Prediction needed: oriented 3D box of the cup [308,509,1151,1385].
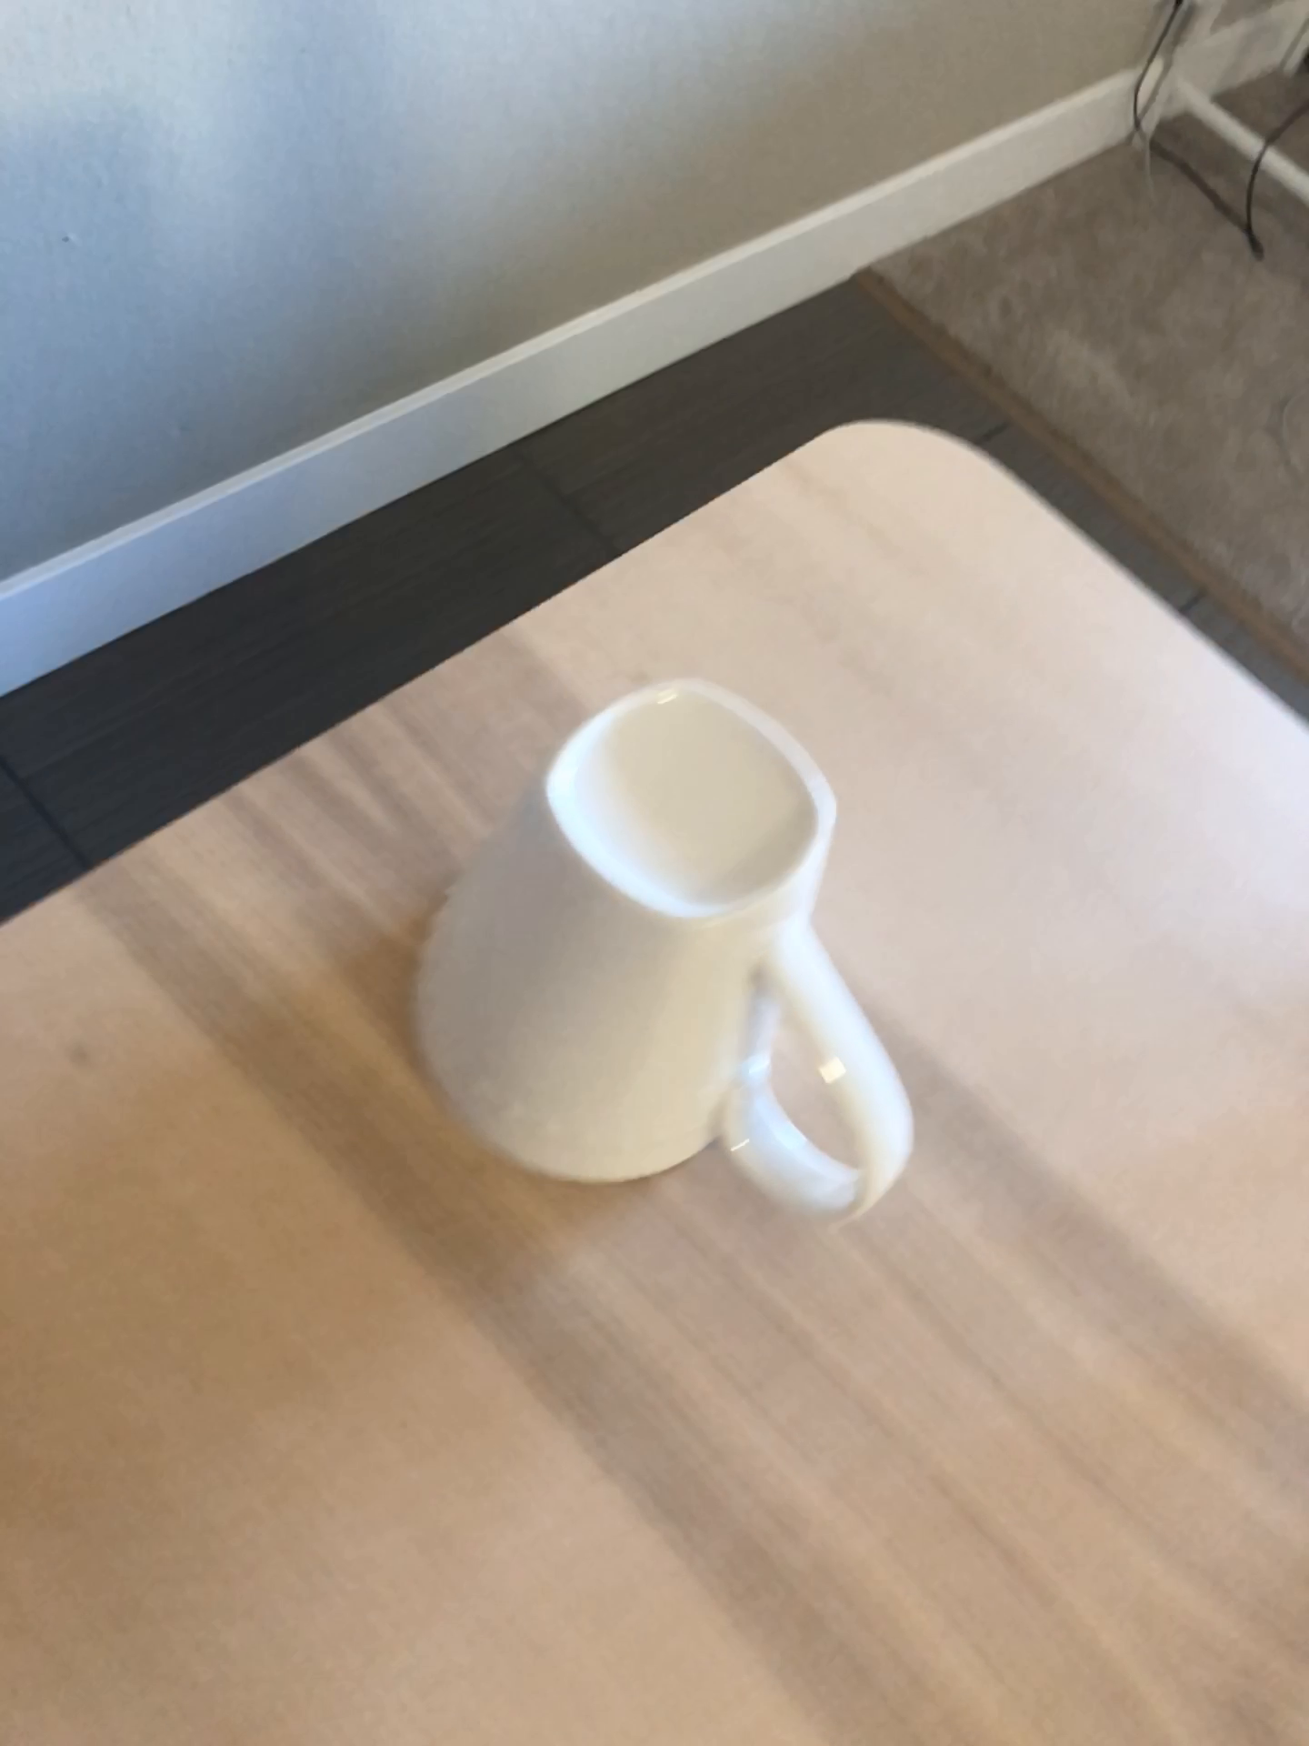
[{"bbox_3d":[0.008,0.020,0.344,0.140,0.120,0.100,40,57,10],"label":"cup"}]
